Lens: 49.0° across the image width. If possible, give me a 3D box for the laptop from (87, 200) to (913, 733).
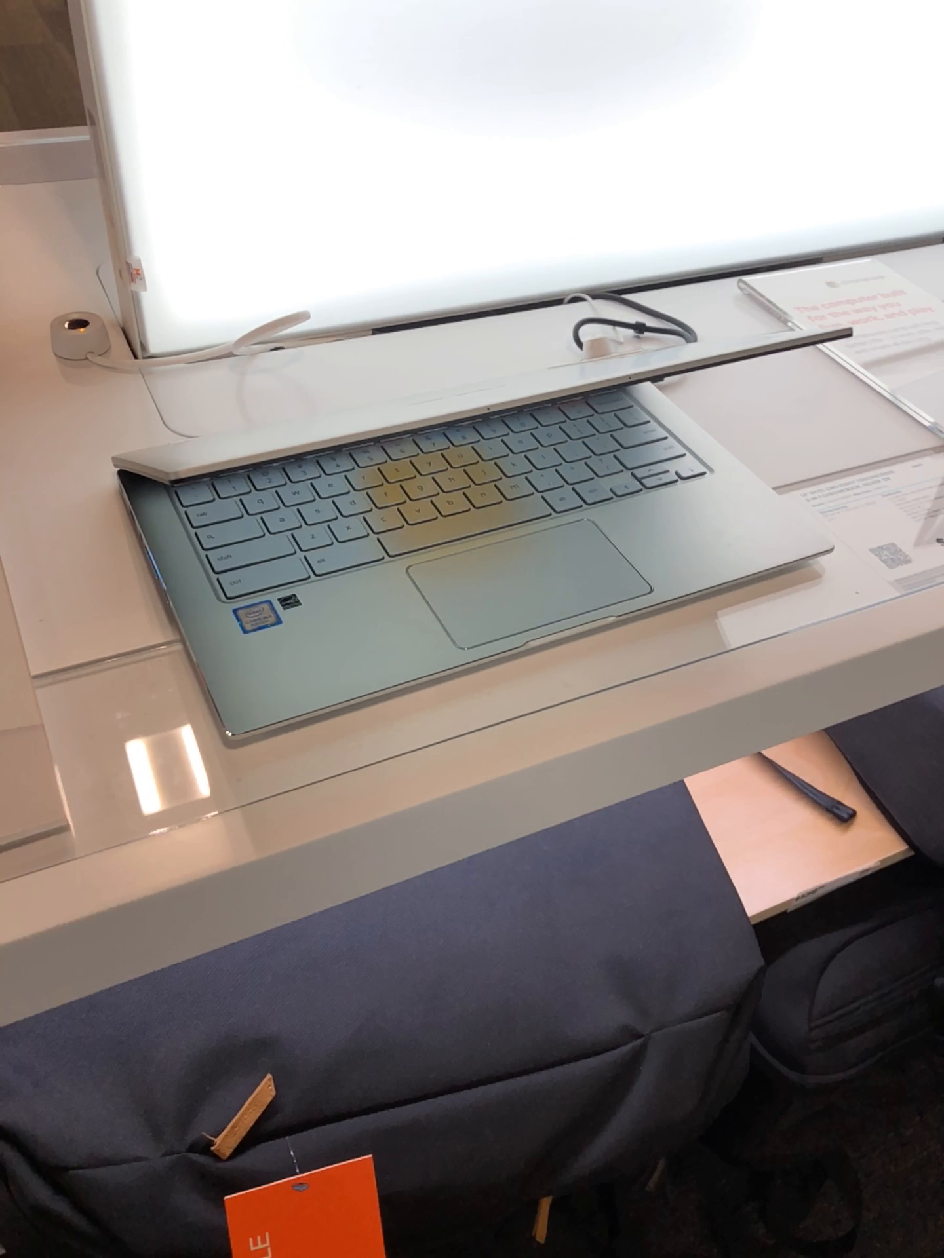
[{"bbox_3d":[0.005,-0.098,0.495,0.311,0.102,0.193,-16,47,-20],"label":"laptop"}]
